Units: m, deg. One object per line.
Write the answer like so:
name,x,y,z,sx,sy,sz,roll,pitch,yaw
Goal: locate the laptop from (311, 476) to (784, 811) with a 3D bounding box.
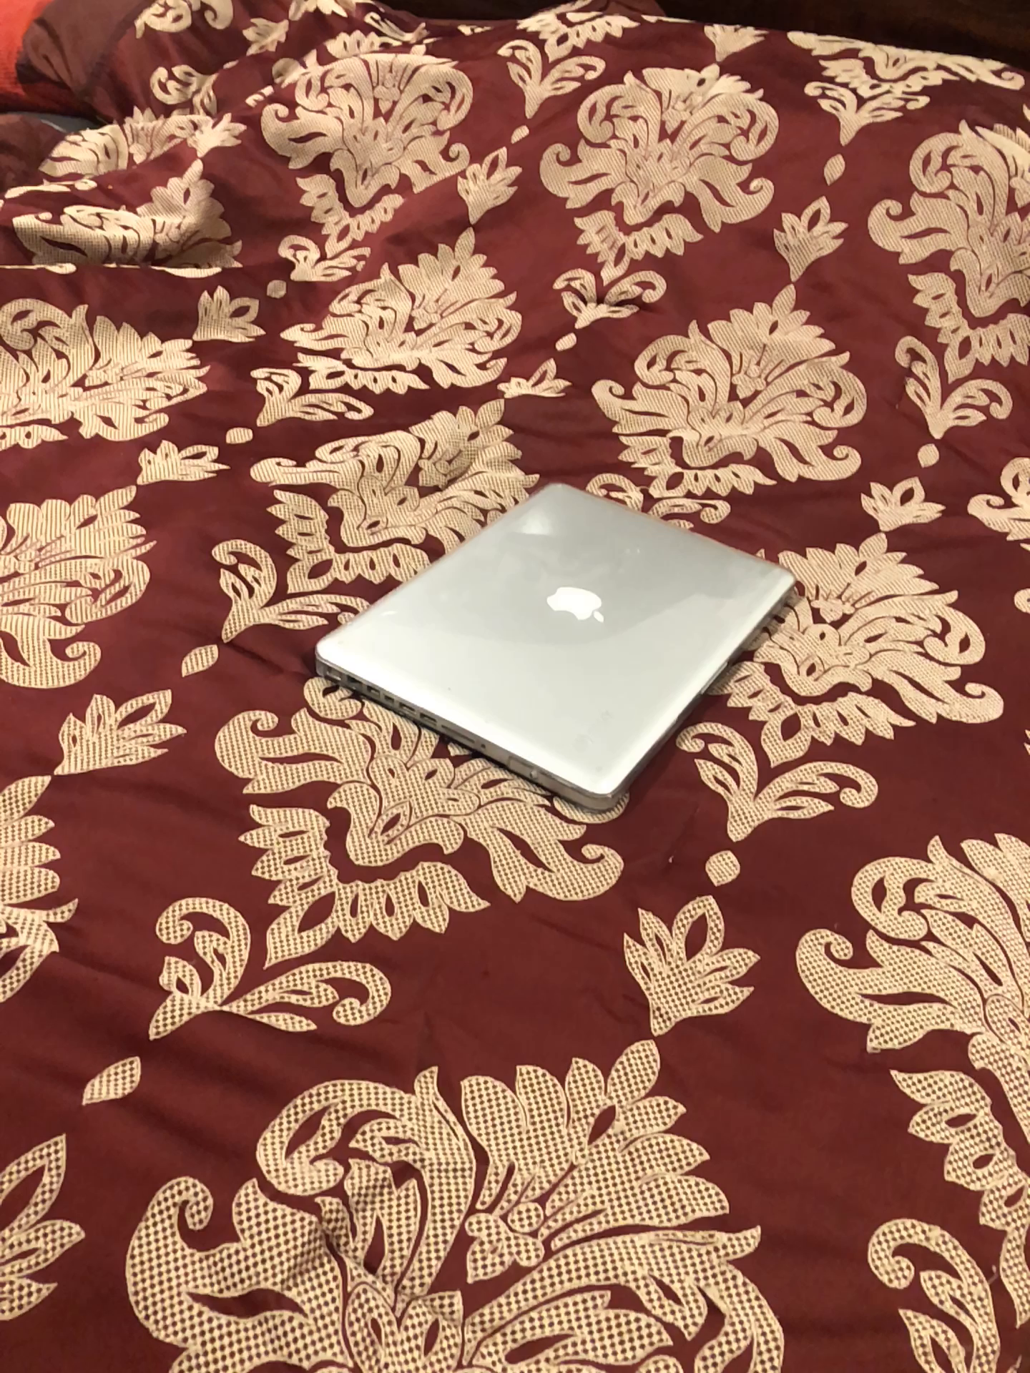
laptop,0.037,-0.050,0.794,0.207,0.015,0.305,25,42,20
